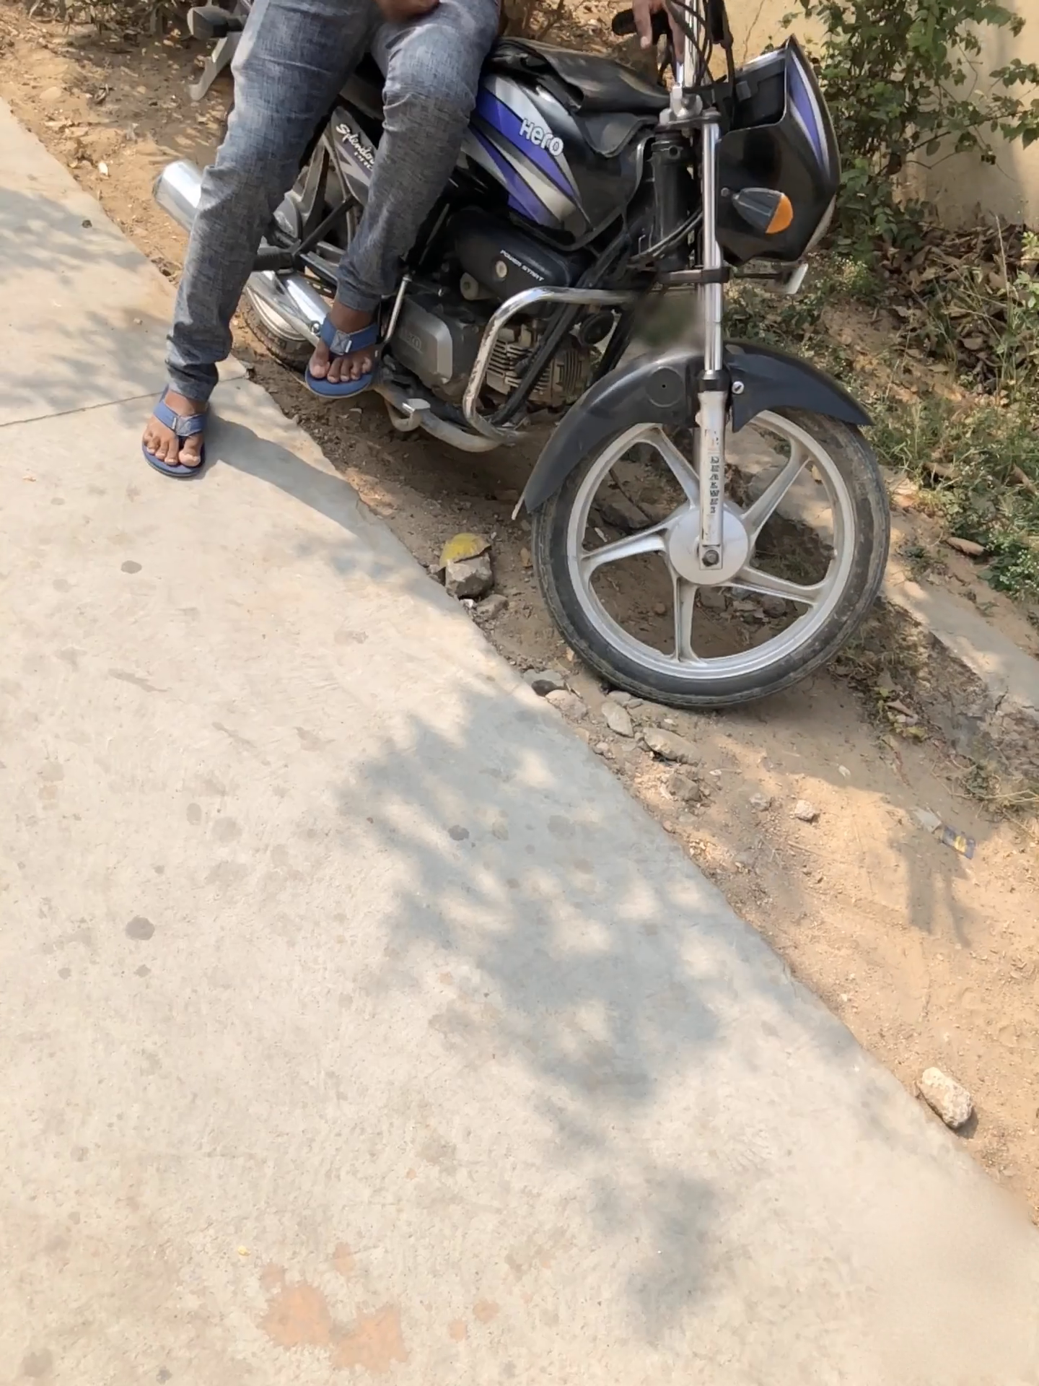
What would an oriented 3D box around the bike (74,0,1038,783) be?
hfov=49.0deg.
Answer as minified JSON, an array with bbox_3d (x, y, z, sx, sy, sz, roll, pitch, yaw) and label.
[{"bbox_3d":[0.059,-0.898,2.149,1.759,1.293,0.774,38,46,25],"label":"bike"}]
